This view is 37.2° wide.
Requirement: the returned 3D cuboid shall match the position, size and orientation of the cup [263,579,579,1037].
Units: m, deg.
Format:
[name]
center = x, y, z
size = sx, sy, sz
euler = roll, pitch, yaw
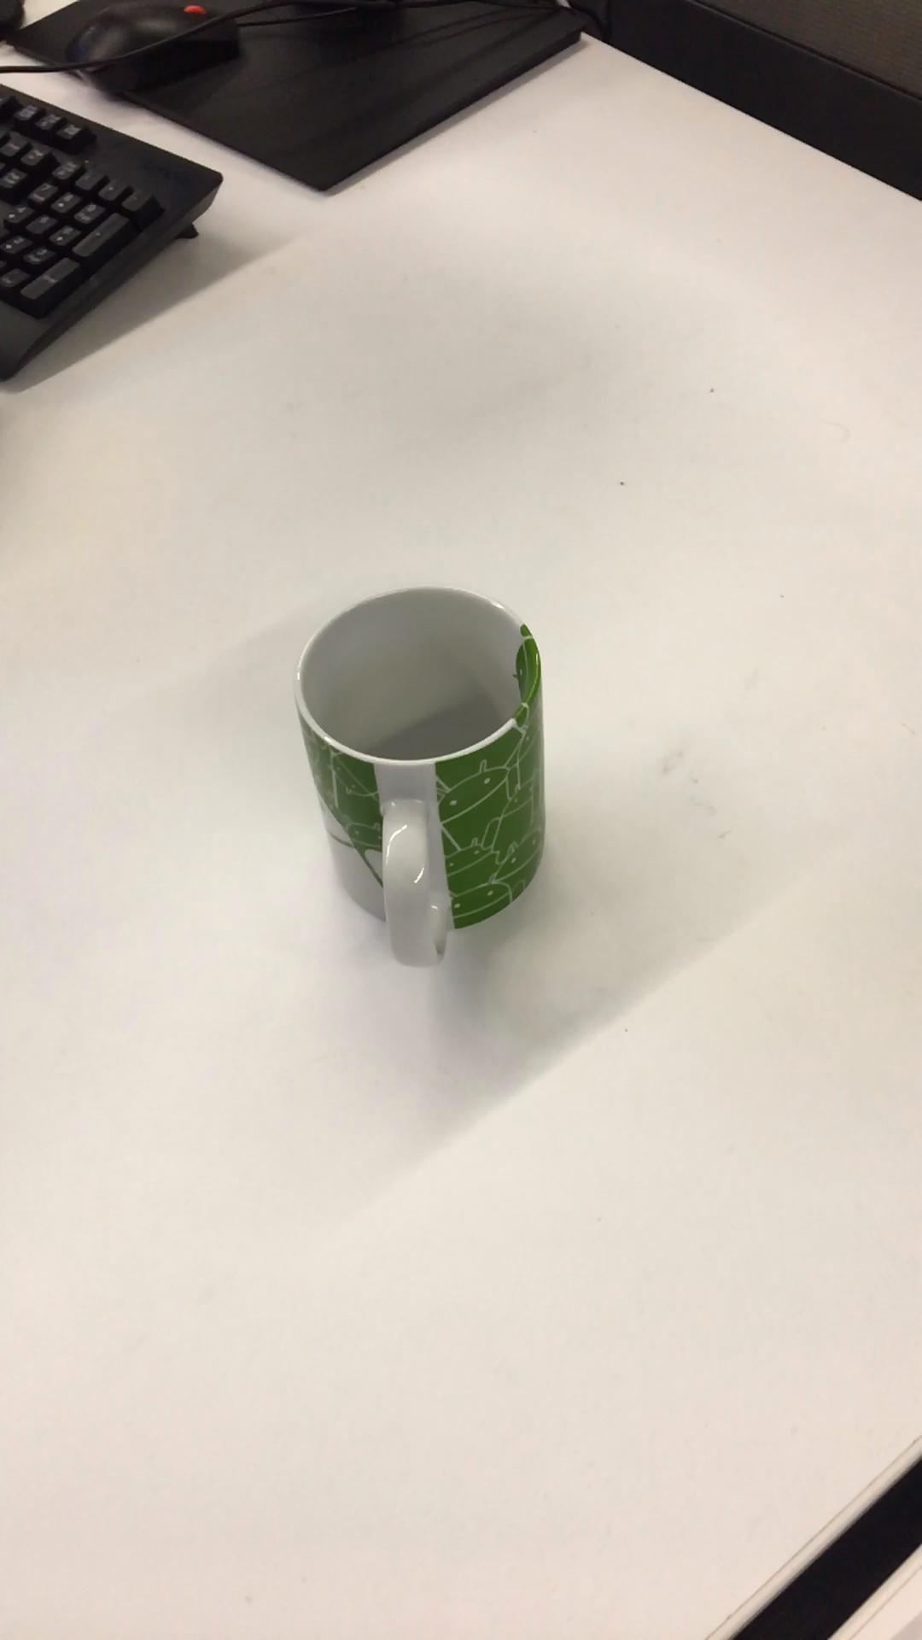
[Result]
[cup]
center = -0.009, -0.004, 0.461
size = 0.090, 0.090, 0.120
euler = -3, 53, 3
